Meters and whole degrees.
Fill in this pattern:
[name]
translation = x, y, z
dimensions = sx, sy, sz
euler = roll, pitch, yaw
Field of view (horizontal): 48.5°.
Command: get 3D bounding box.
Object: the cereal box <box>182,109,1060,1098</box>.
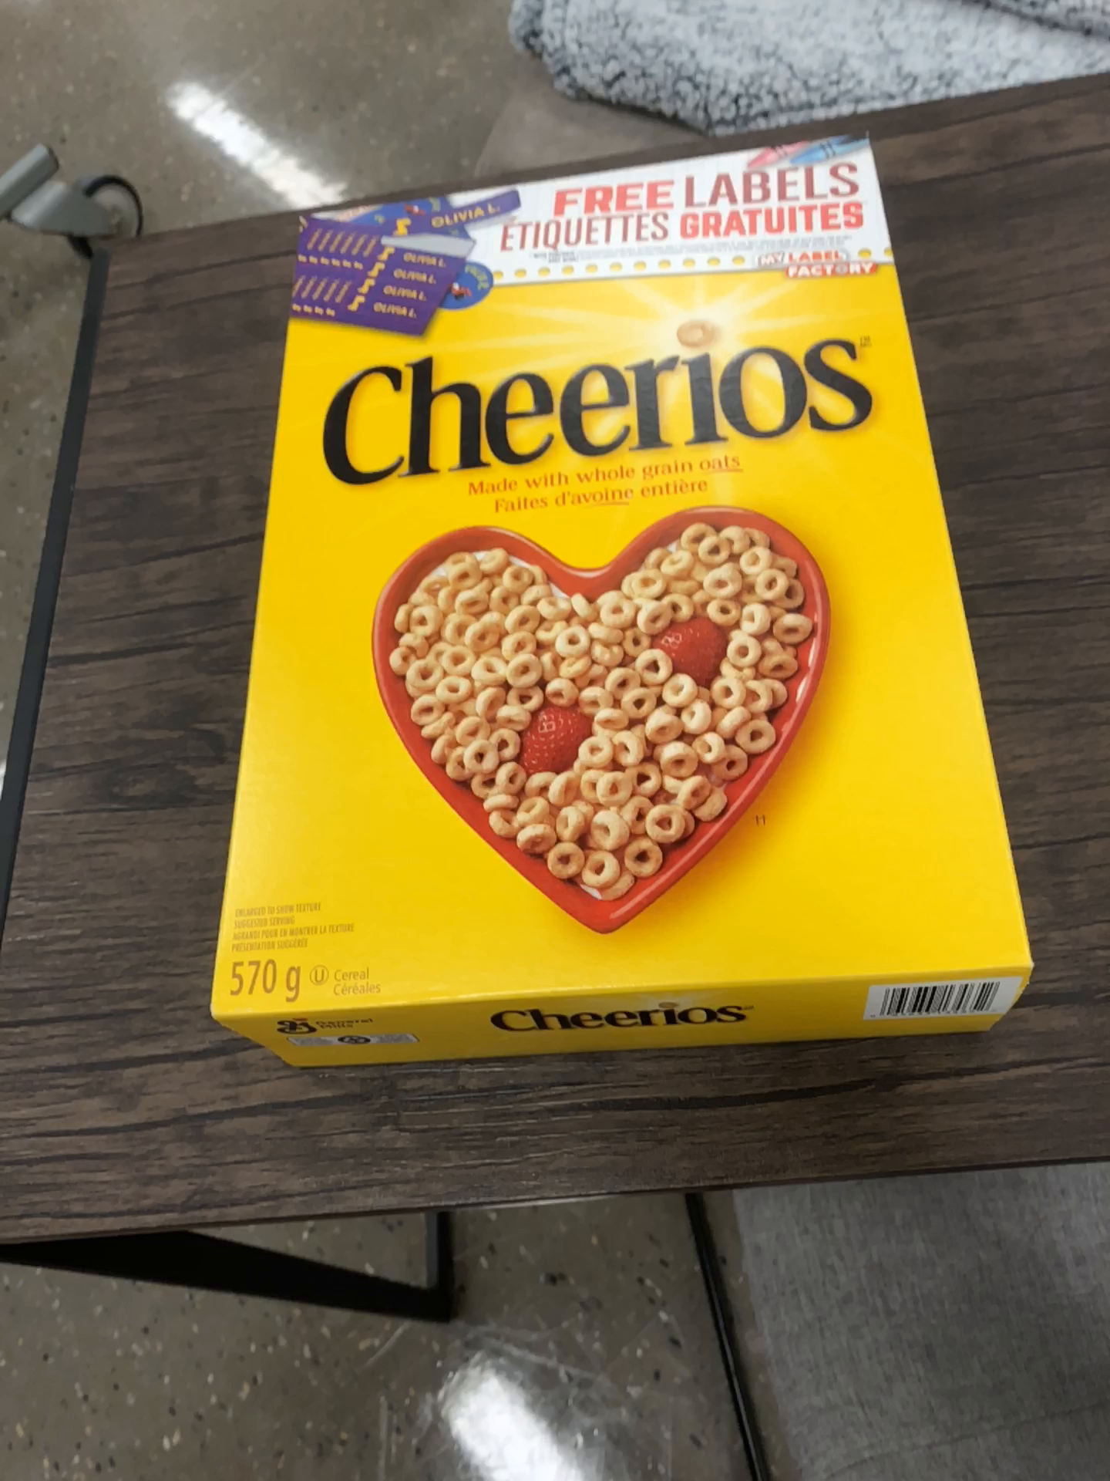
[cereal box]
translation = 0.015, -0.058, 0.456
dimensions = 0.240, 0.100, 0.340
euler = -5, 63, 7
